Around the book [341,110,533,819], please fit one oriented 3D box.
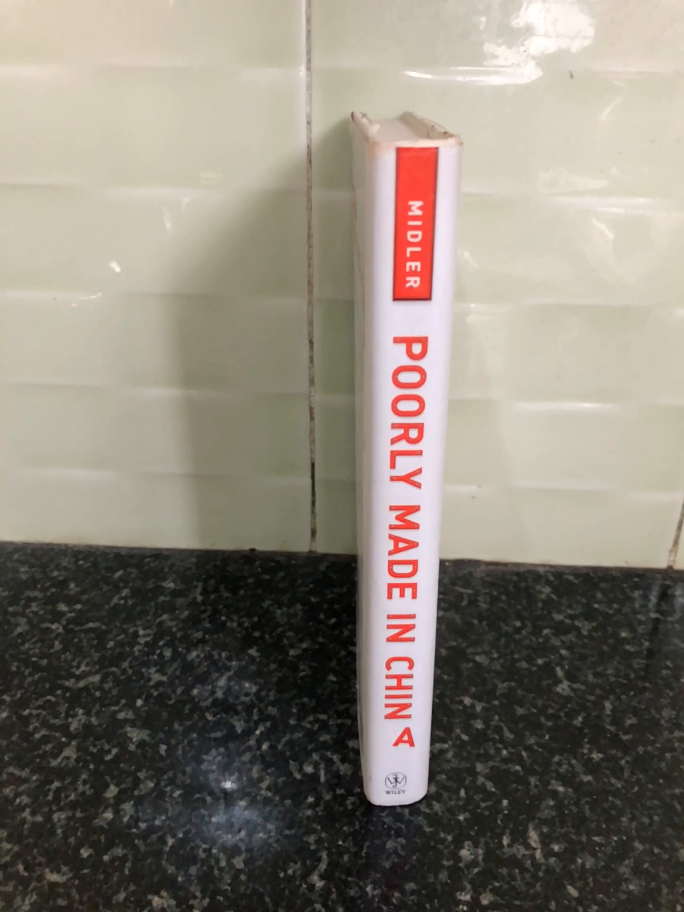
[{"bbox_3d":[0.021,-0.014,0.305,0.040,0.219,0.191,0,26,-1],"label":"book"}]
